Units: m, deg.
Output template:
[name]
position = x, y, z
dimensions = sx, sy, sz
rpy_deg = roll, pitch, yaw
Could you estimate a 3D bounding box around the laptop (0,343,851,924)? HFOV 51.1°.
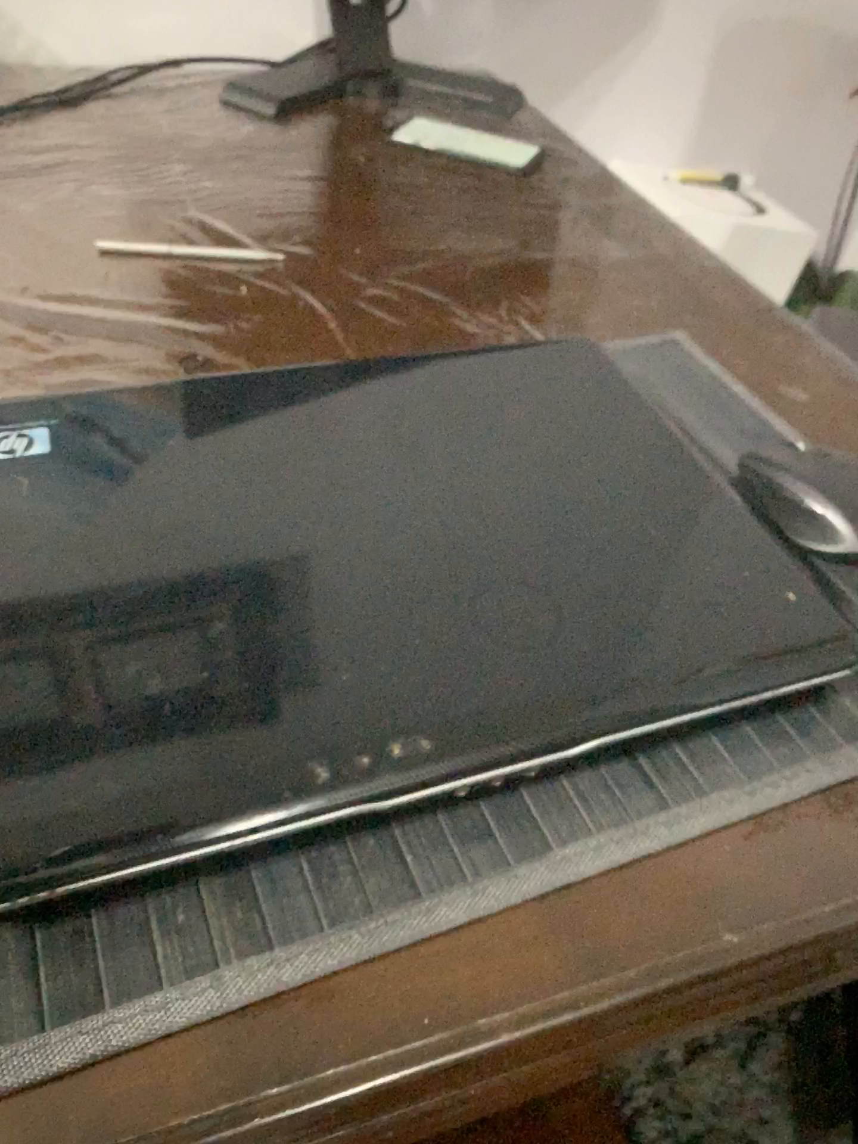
[laptop]
position = -0.023, -0.017, 0.377
dimensions = 0.339, 0.009, 0.231
rpy_deg = -10, 48, -21
